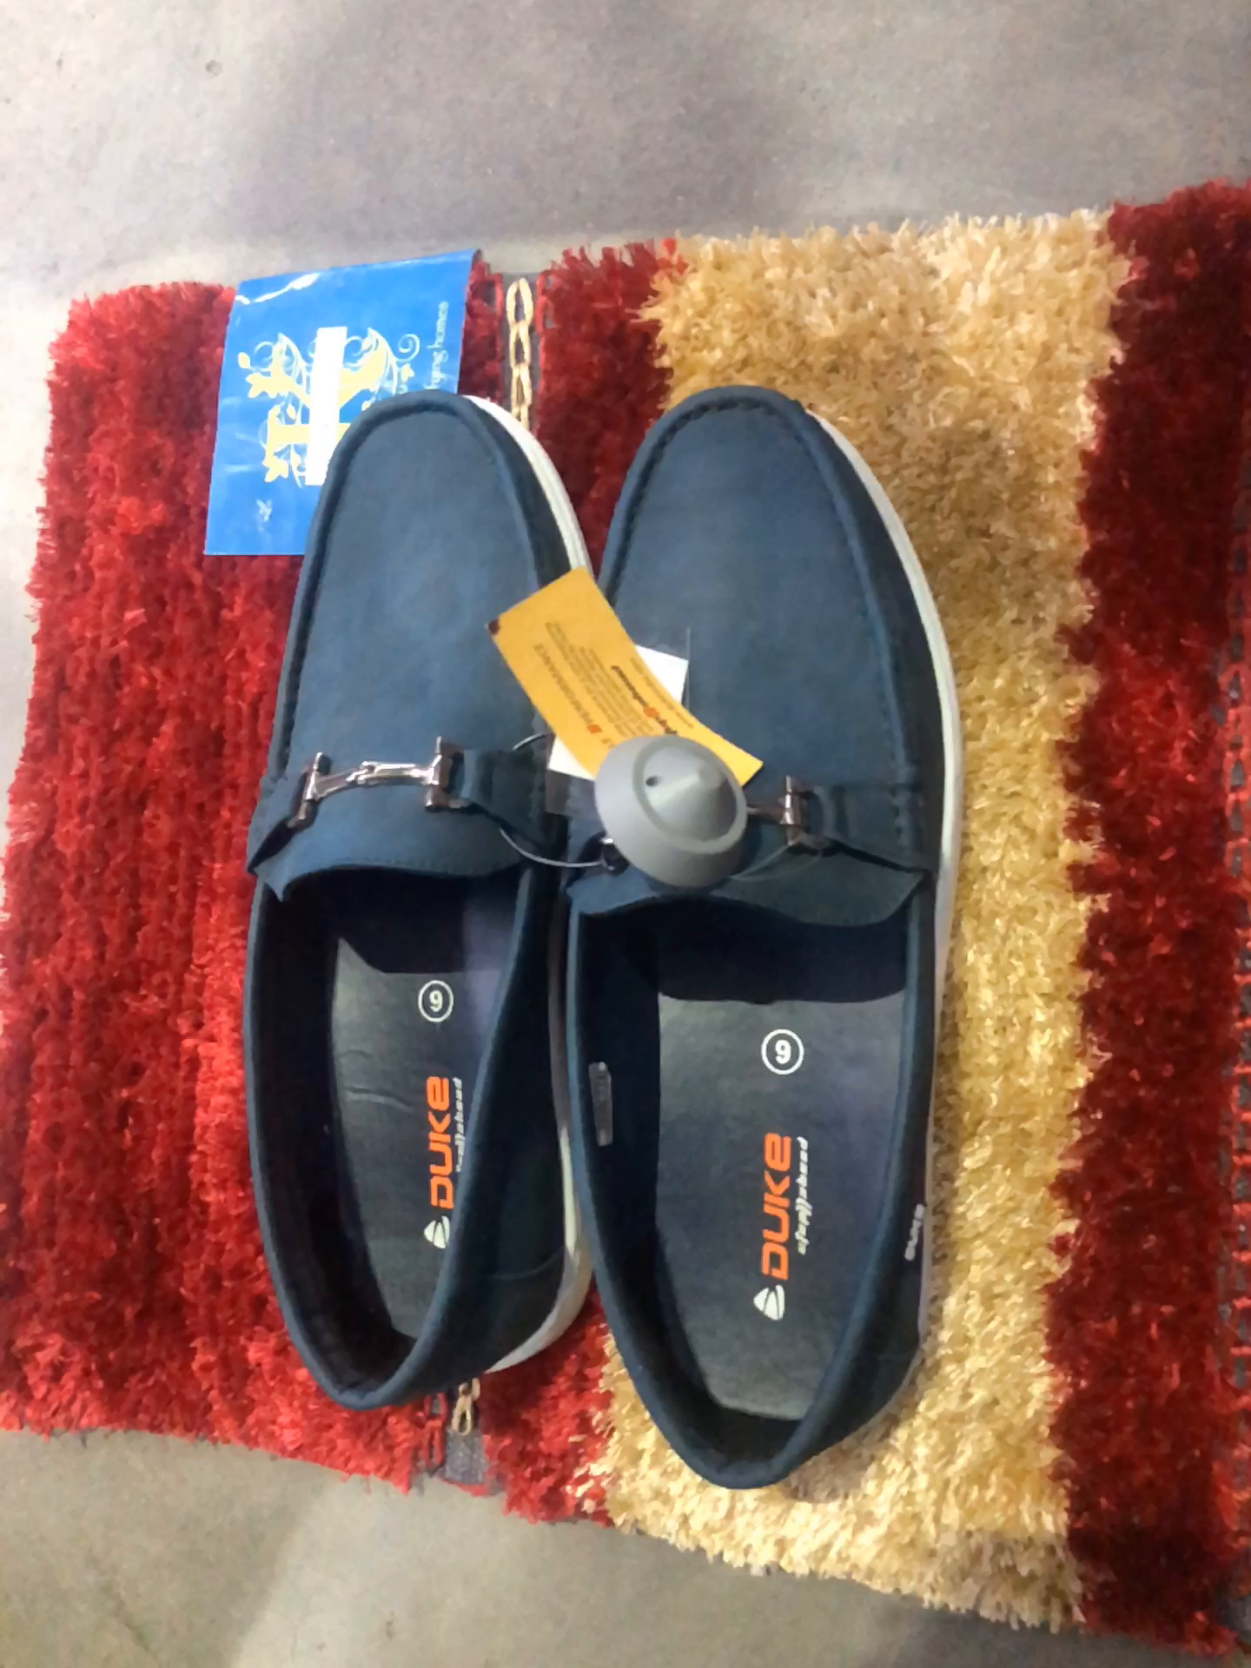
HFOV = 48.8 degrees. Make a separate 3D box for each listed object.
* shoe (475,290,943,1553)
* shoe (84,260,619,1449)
[{"bbox_3d":[0.029,0.018,0.363,0.100,0.090,0.280,0,85,17],"label":"shoe"},{"bbox_3d":[-0.068,0.004,0.382,0.110,0.090,0.280,-1,84,17],"label":"shoe"}]
